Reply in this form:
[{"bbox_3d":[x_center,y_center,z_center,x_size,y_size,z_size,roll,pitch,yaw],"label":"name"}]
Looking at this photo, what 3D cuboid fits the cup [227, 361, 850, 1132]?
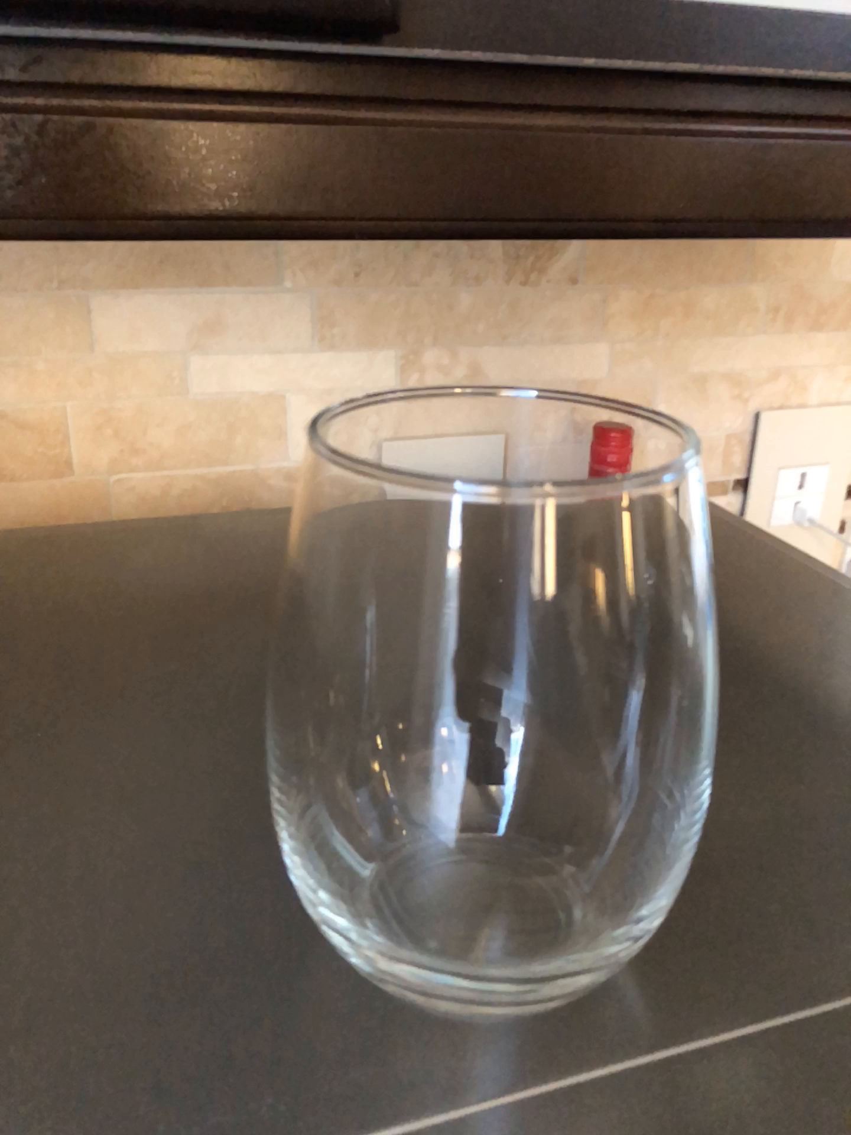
[{"bbox_3d":[0.014,0.022,0.183,0.078,0.104,0.083,1,22,0],"label":"cup"}]
